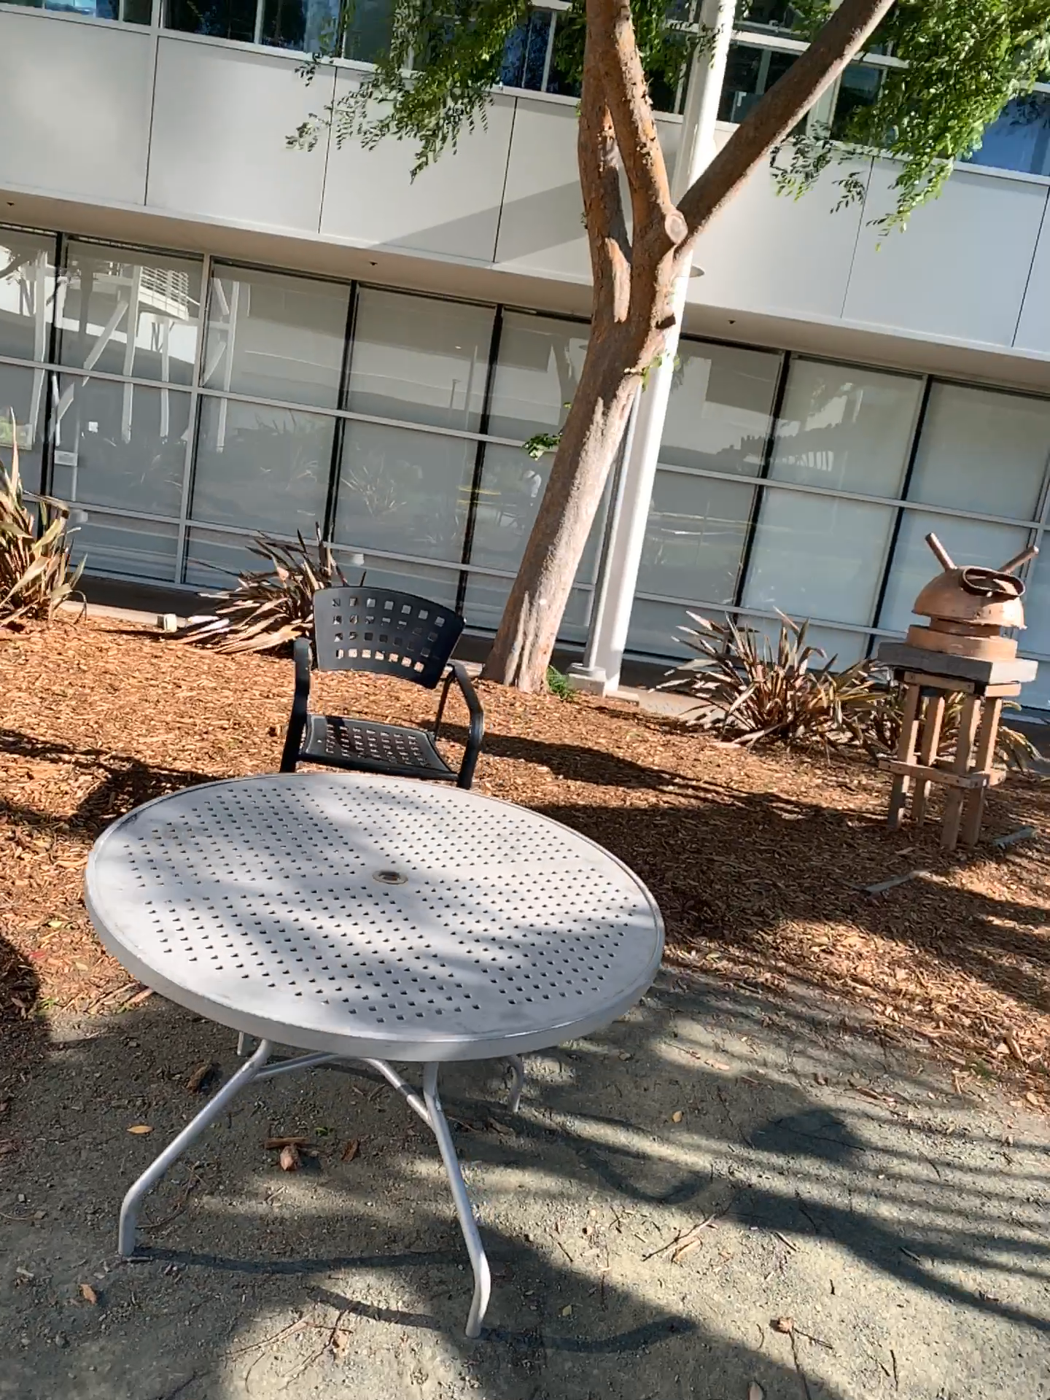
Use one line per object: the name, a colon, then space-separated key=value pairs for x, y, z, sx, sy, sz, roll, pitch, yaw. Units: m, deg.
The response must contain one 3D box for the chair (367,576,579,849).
chair: x=-0.192 y=0.026 z=3.449 sx=0.520 sy=0.718 sz=0.501 roll=7 pitch=12 yaw=-12
